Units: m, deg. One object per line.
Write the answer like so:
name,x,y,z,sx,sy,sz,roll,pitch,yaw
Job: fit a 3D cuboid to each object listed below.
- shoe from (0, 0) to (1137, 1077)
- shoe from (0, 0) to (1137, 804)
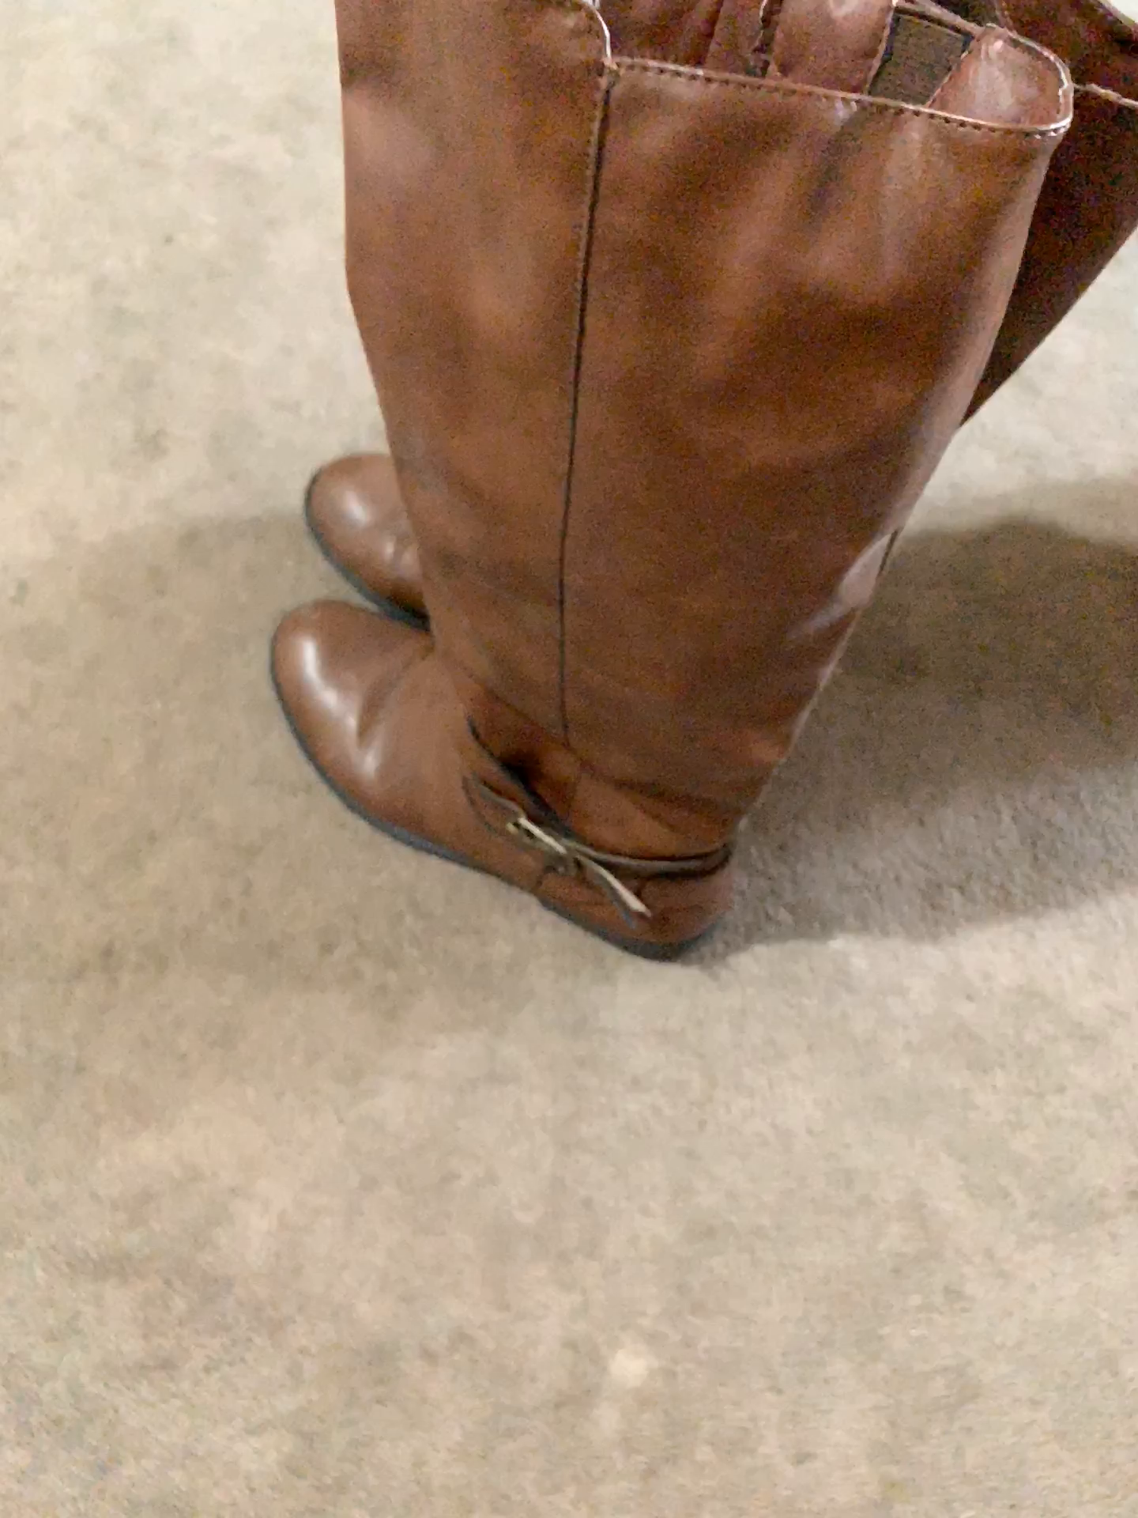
shoe,-0.015,-0.069,0.405,0.270,0.398,0.121,36,67,15
shoe,-0.006,-0.167,0.435,0.260,0.368,0.111,29,65,13
